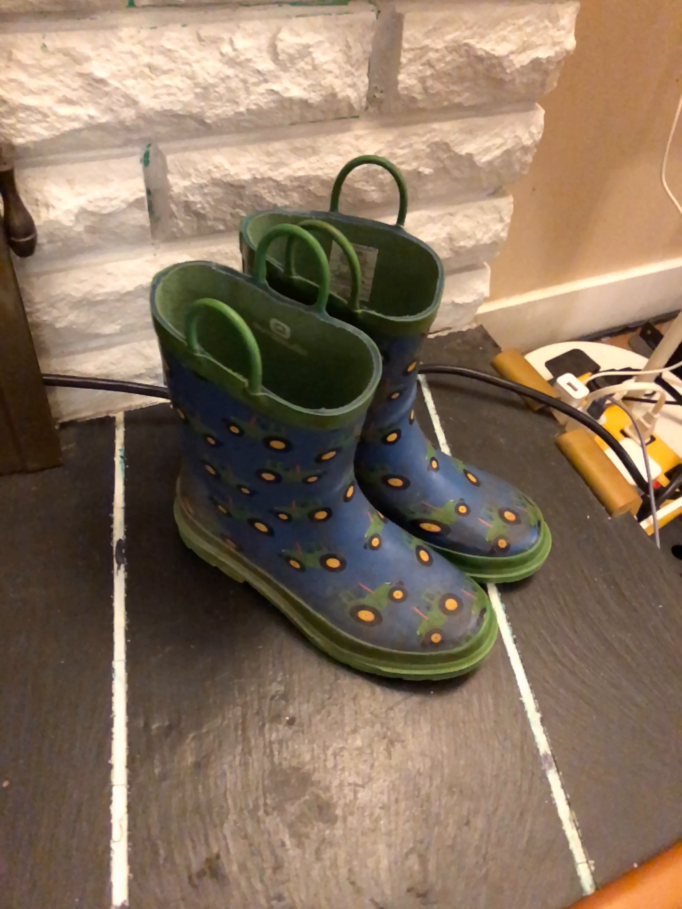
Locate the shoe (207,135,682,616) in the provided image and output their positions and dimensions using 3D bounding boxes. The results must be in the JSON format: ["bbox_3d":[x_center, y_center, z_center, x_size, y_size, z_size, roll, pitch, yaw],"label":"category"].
[{"bbox_3d":[0.050,-0.035,0.467,0.240,0.229,0.101,19,51,6],"label":"shoe"}]

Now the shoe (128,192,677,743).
[{"bbox_3d":[0.014,0.021,0.429,0.230,0.239,0.100,28,53,13],"label":"shoe"}]
